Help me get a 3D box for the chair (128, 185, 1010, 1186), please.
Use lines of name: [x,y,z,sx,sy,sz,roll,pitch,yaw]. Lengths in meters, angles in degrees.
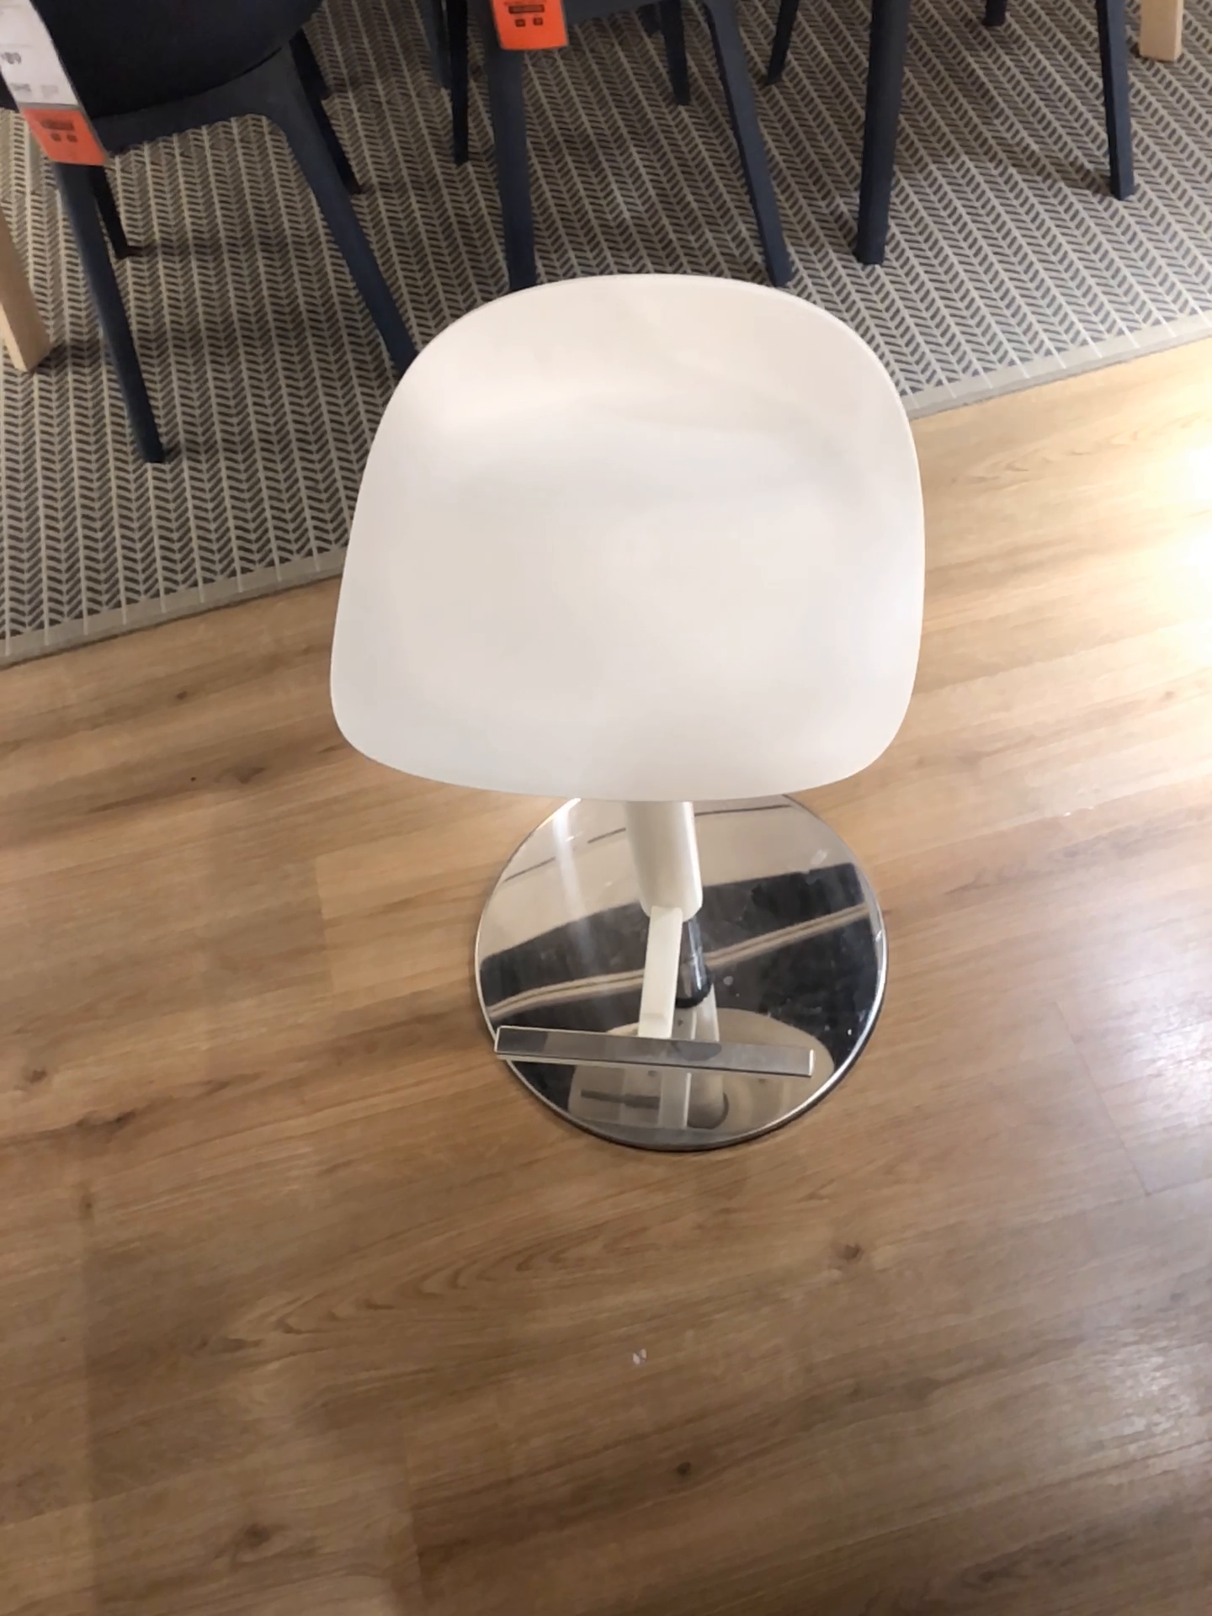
chair: [0.025,-0.028,1.071,0.440,0.699,0.451,0,59,7]
